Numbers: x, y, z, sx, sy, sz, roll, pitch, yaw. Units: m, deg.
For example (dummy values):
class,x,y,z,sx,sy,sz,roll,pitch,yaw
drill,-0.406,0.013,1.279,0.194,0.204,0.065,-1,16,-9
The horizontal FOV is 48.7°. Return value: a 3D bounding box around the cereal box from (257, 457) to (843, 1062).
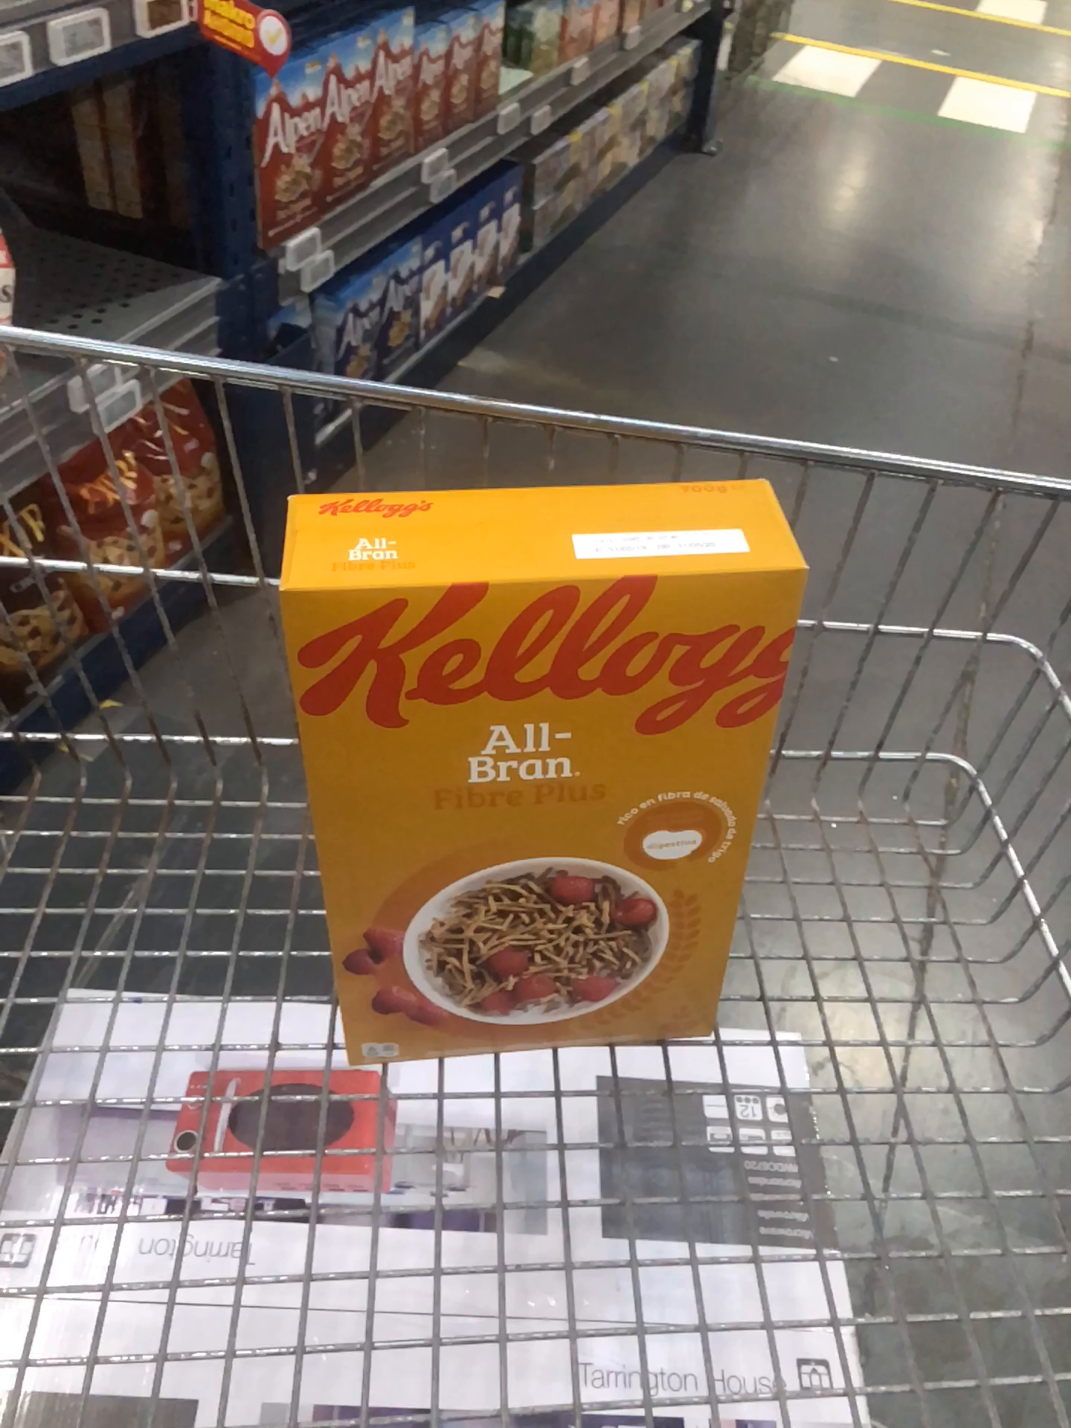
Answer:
class,x,y,z,sx,sy,sz,roll,pitch,yaw
cereal box,0.002,0.036,0.524,0.200,0.289,0.070,-3,42,-4
